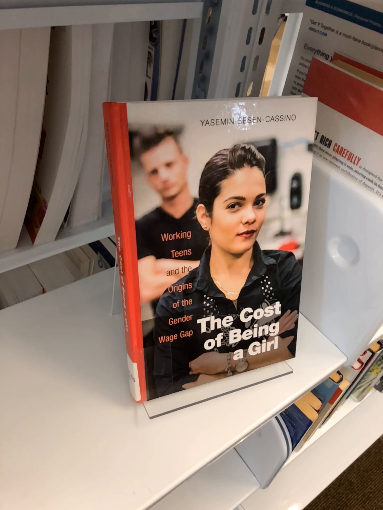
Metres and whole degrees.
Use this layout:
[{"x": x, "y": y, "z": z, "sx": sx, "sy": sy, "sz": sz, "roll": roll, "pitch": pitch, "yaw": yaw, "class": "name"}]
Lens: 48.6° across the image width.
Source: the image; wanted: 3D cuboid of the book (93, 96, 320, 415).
[{"x": 0.017, "y": 0.001, "z": 0.332, "sx": 0.157, "sy": 0.230, "sz": 0.030, "roll": -11, "pitch": 24, "yaw": -21, "class": "book"}]
